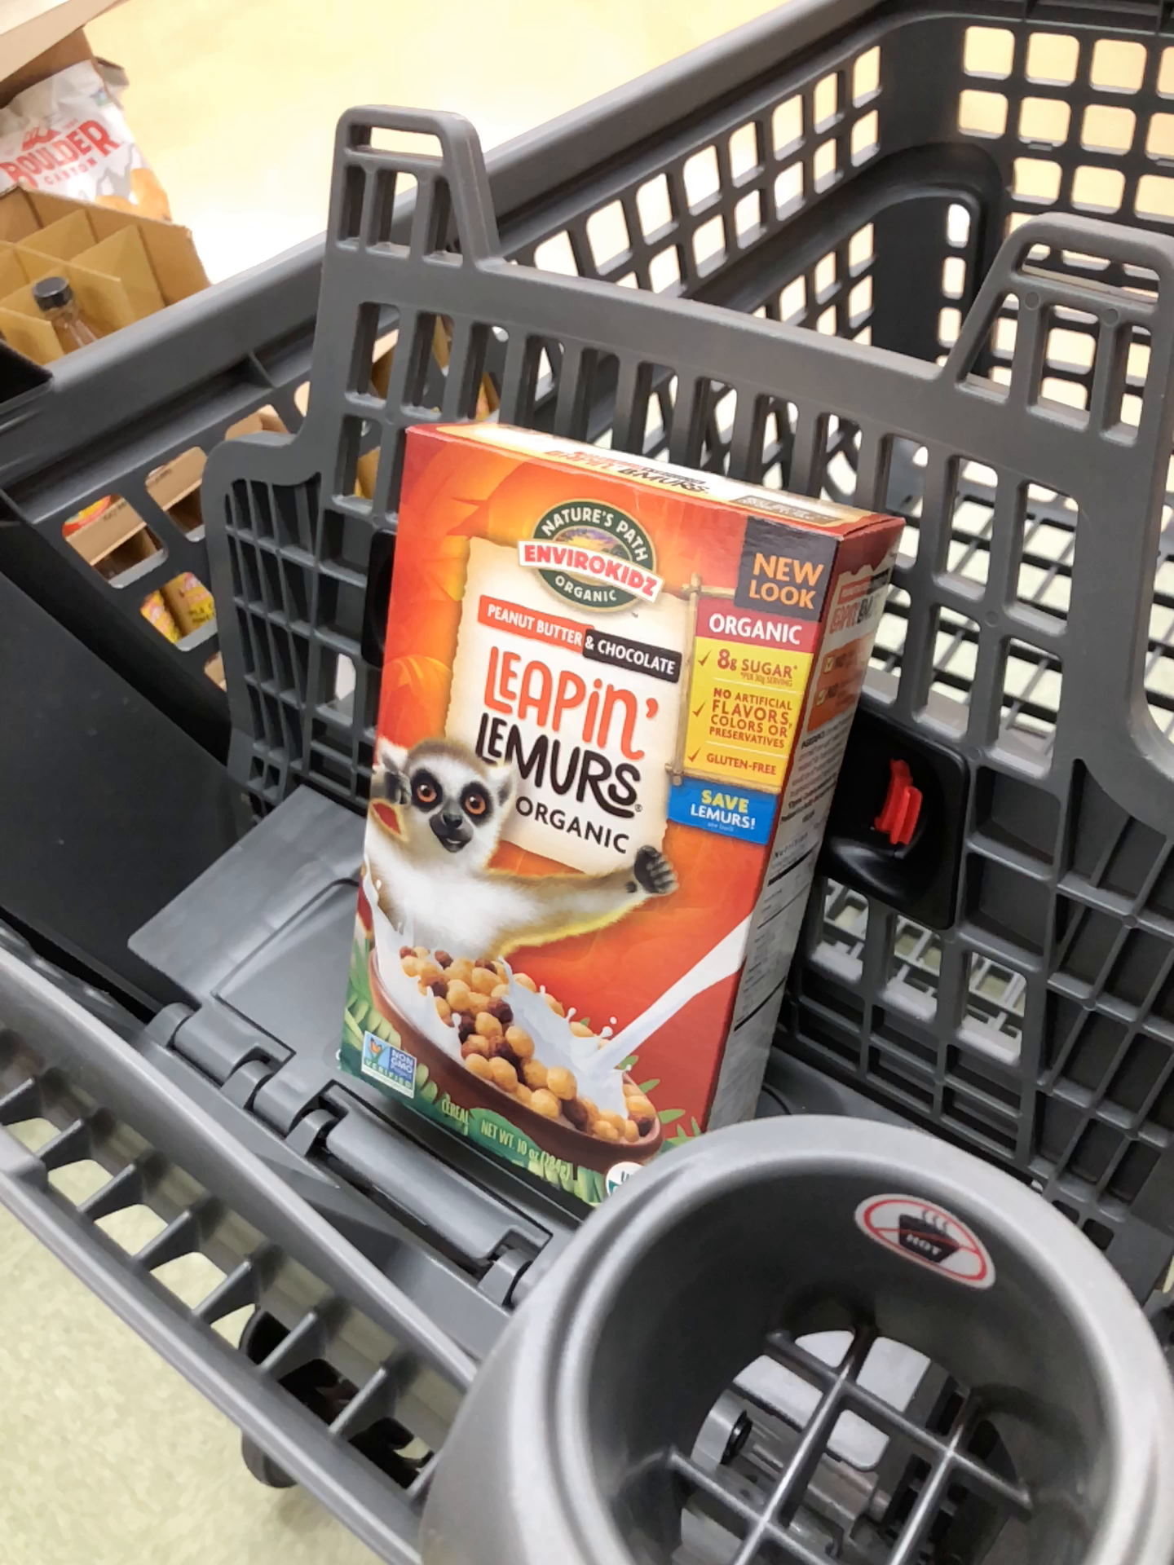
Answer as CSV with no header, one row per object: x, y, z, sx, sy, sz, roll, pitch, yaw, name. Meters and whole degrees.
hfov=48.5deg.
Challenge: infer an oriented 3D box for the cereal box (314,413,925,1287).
0.000,0.018,0.460,0.160,0.260,0.070,20,23,26,cereal box
